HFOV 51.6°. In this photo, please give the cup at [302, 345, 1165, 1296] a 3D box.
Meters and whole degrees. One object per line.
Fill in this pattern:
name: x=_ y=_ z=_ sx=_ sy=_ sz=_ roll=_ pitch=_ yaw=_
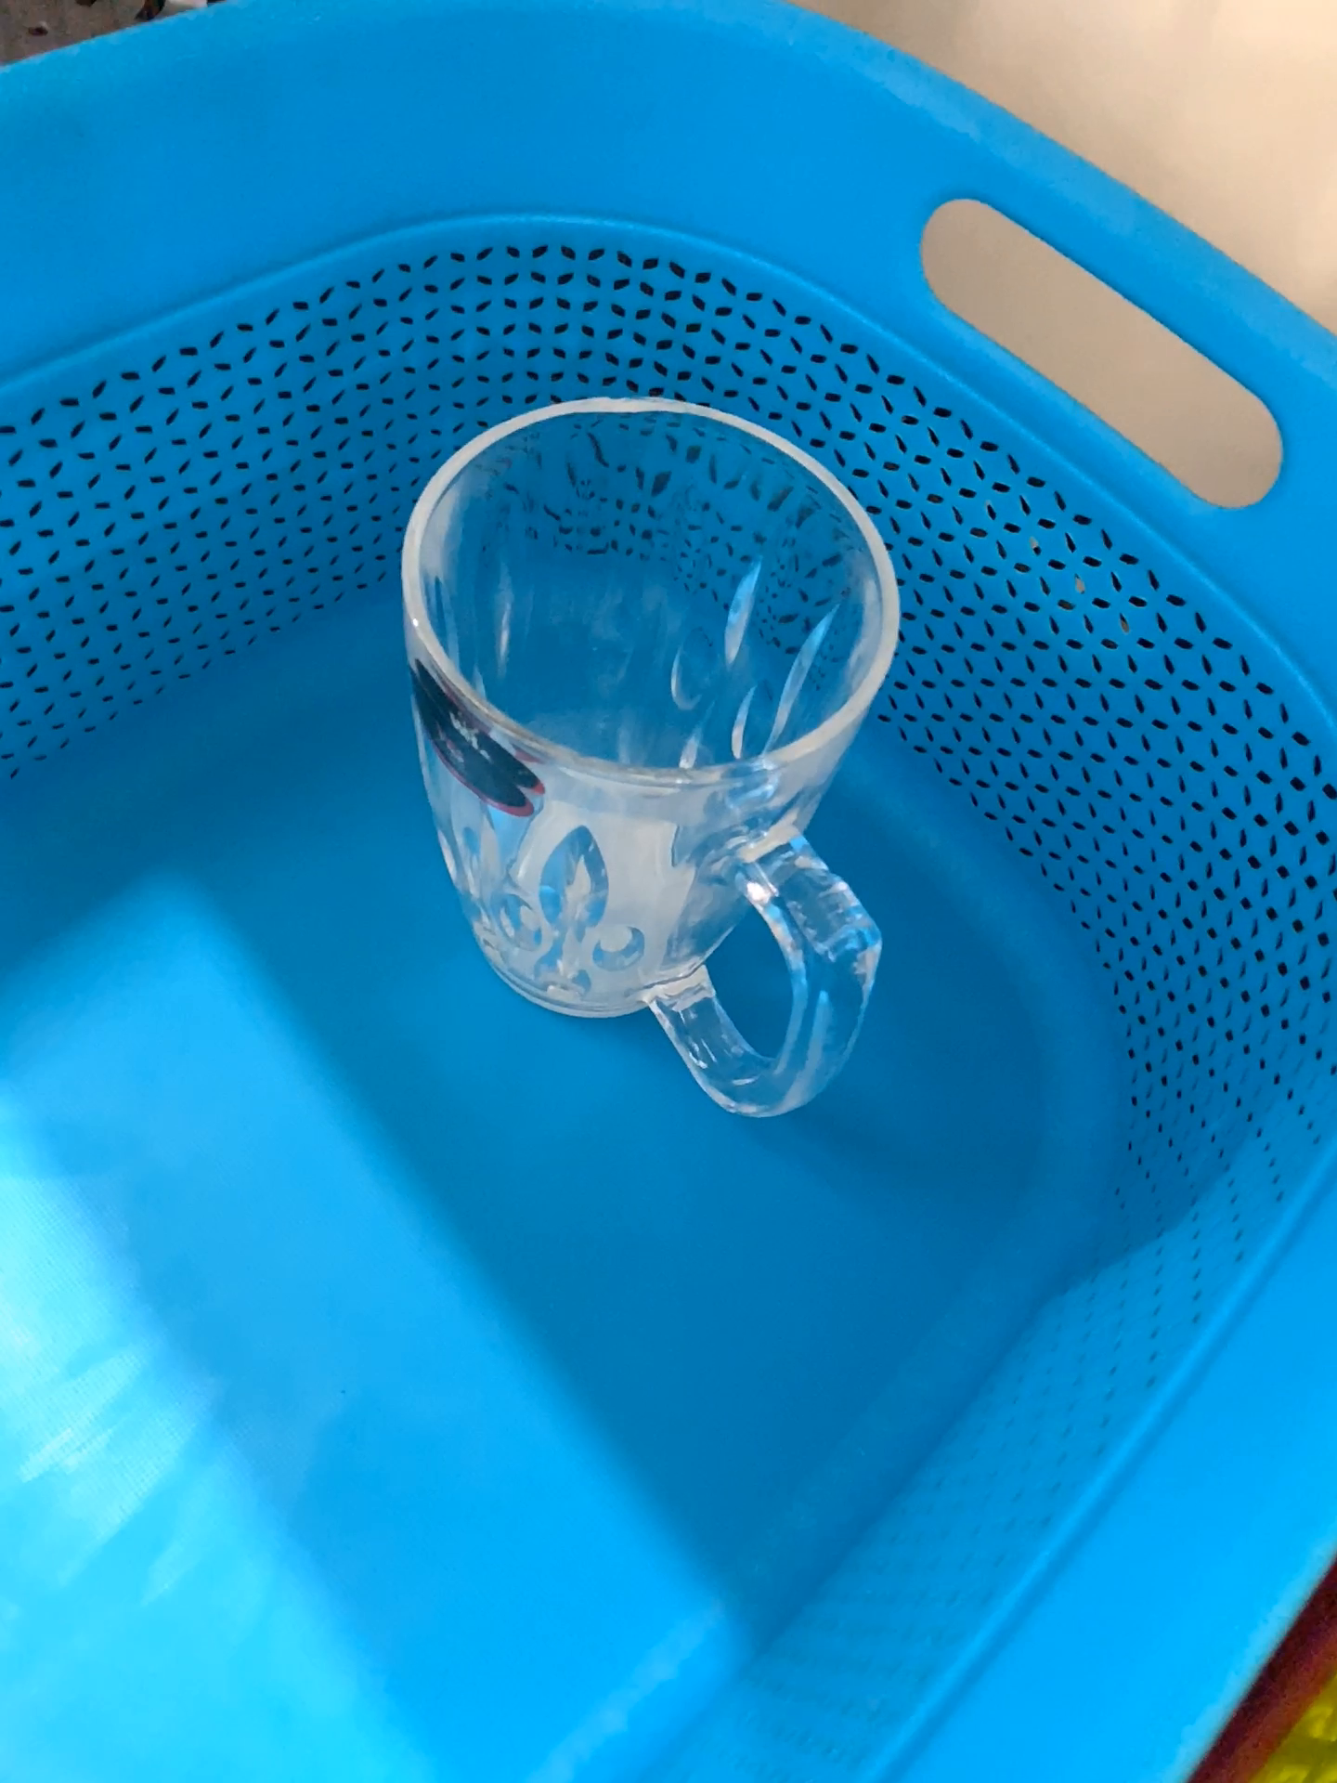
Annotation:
cup: x=0.001 y=-0.009 z=0.252 sx=0.080 sy=0.109 sz=0.110 roll=-29 pitch=68 yaw=-22
